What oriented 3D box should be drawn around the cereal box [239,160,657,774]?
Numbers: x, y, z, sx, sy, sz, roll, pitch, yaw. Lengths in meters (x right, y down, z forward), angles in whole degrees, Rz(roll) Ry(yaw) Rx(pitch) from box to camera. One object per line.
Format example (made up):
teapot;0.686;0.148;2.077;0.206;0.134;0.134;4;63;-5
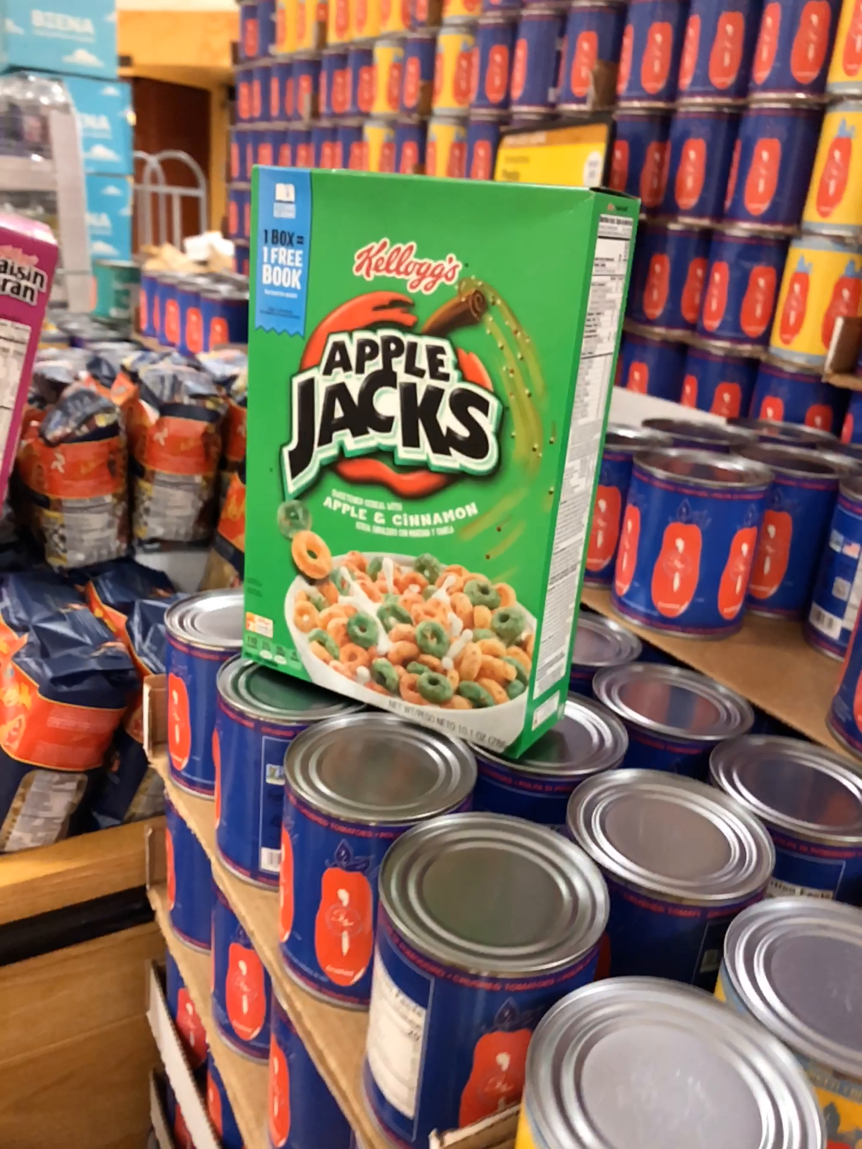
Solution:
cereal box;-0.006;-0.063;0.524;0.200;0.288;0.060;16;23;27
